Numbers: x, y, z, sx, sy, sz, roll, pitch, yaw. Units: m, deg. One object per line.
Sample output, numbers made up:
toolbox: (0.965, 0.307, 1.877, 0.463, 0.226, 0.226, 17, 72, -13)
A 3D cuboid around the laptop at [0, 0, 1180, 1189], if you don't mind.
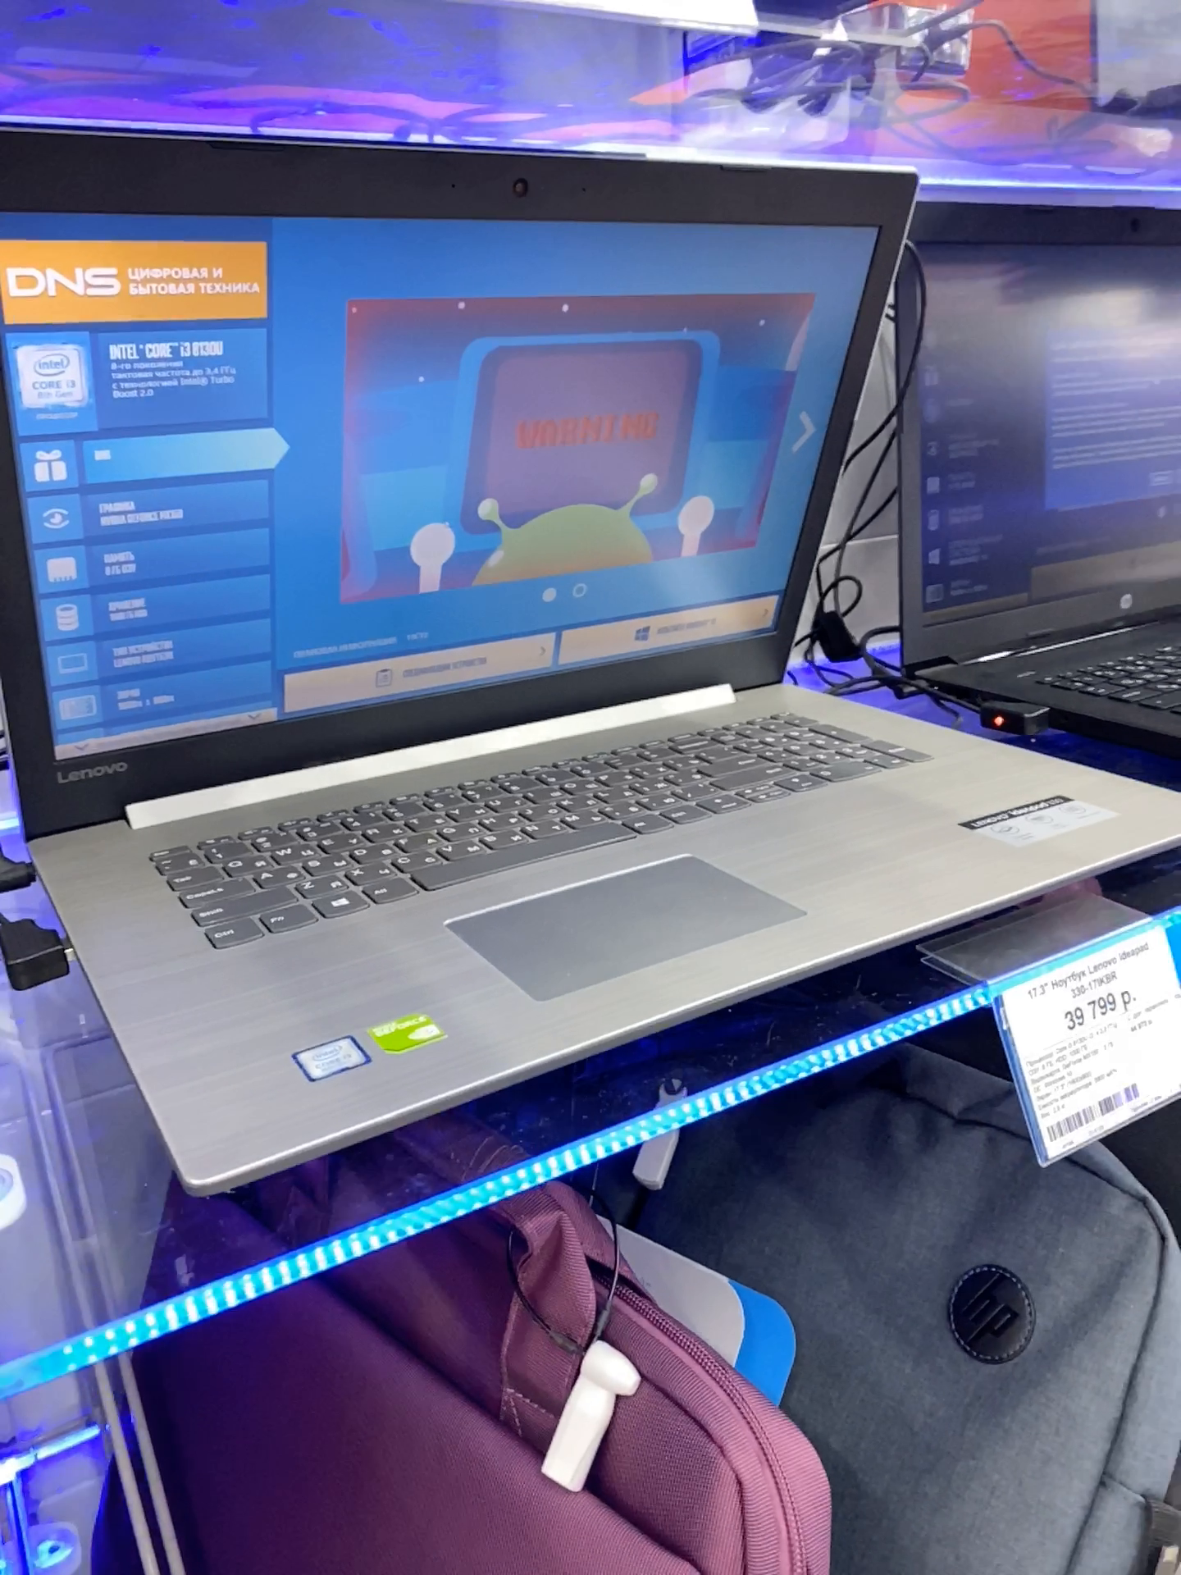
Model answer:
laptop: (0.002, -0.104, 0.462, 0.417, 0.256, 0.280, -13, 21, -28)
